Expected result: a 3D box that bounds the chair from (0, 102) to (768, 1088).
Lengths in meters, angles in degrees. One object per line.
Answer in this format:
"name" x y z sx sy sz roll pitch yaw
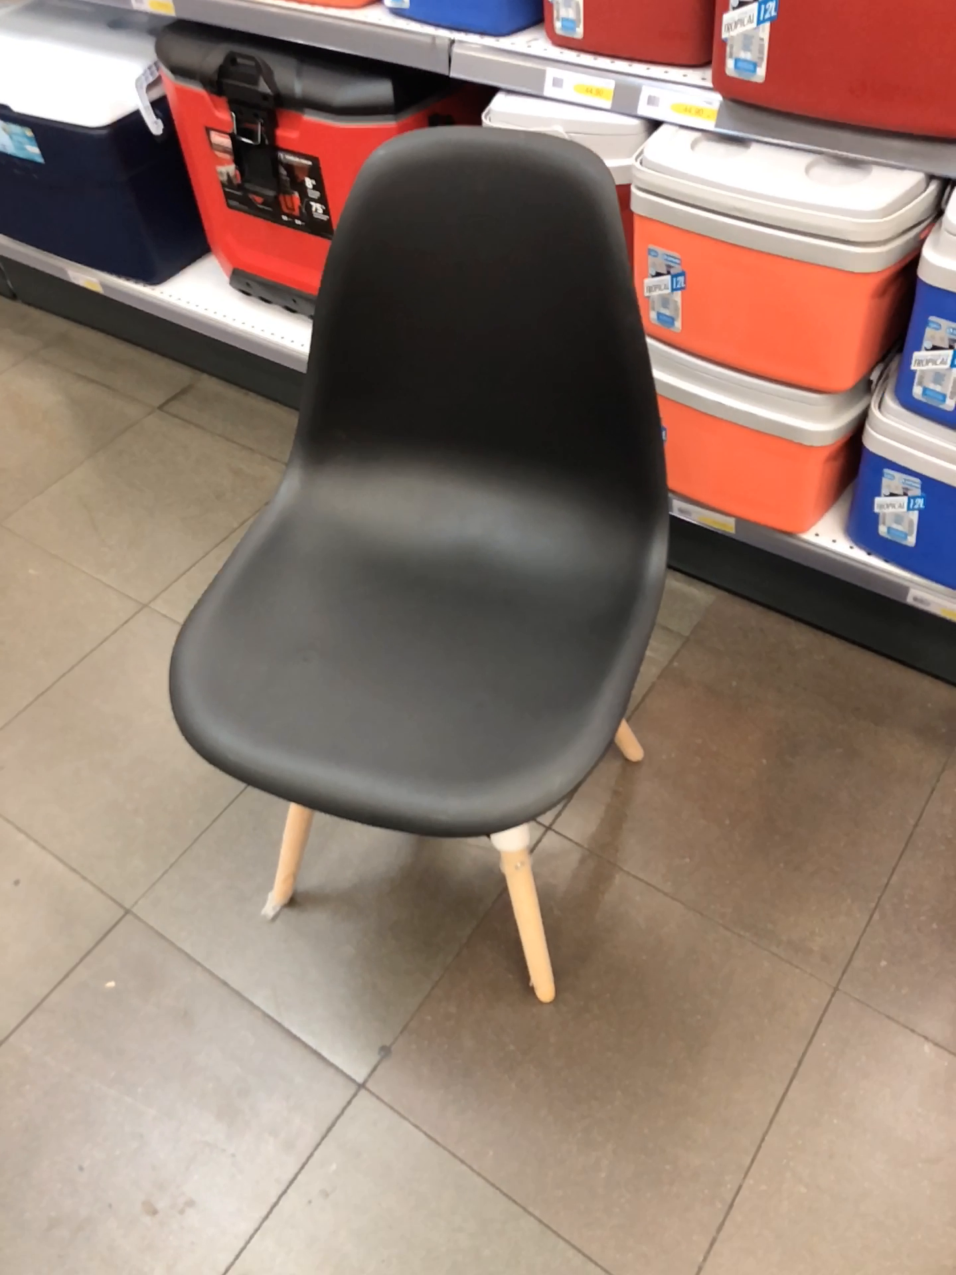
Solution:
"chair" -0.064 -0.033 1.051 0.501 0.725 0.553 15 51 19
